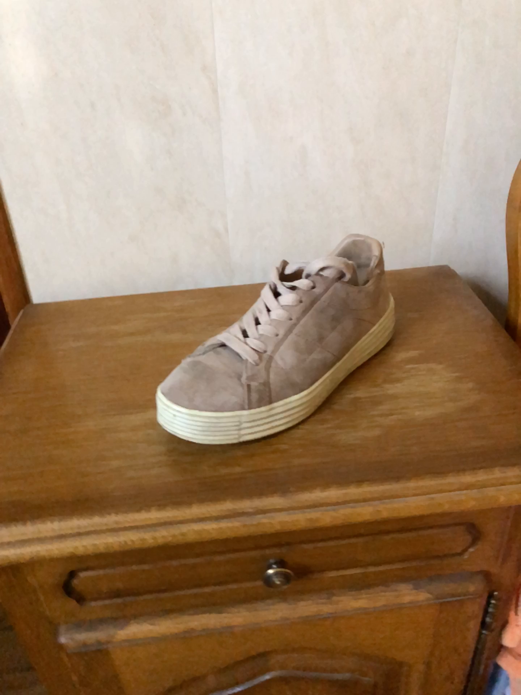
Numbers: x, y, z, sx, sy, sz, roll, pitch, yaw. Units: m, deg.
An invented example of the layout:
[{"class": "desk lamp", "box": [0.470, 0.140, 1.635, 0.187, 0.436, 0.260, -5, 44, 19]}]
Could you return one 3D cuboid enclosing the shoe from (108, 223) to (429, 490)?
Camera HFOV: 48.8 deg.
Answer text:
[{"class": "shoe", "box": [0.021, -0.013, 0.483, 0.110, 0.089, 0.261, 25, 42, 36]}]
